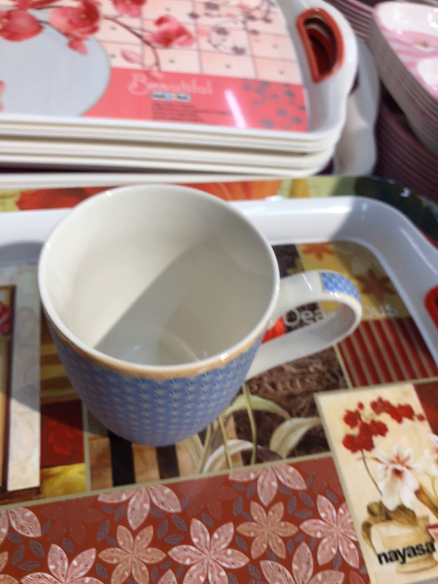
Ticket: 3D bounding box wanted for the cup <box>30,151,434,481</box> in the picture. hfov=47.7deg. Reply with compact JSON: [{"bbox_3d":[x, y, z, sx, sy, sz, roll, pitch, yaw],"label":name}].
[{"bbox_3d":[-0.006,0.009,0.203,0.120,0.099,0.080,-5,52,-15],"label":"cup"}]
